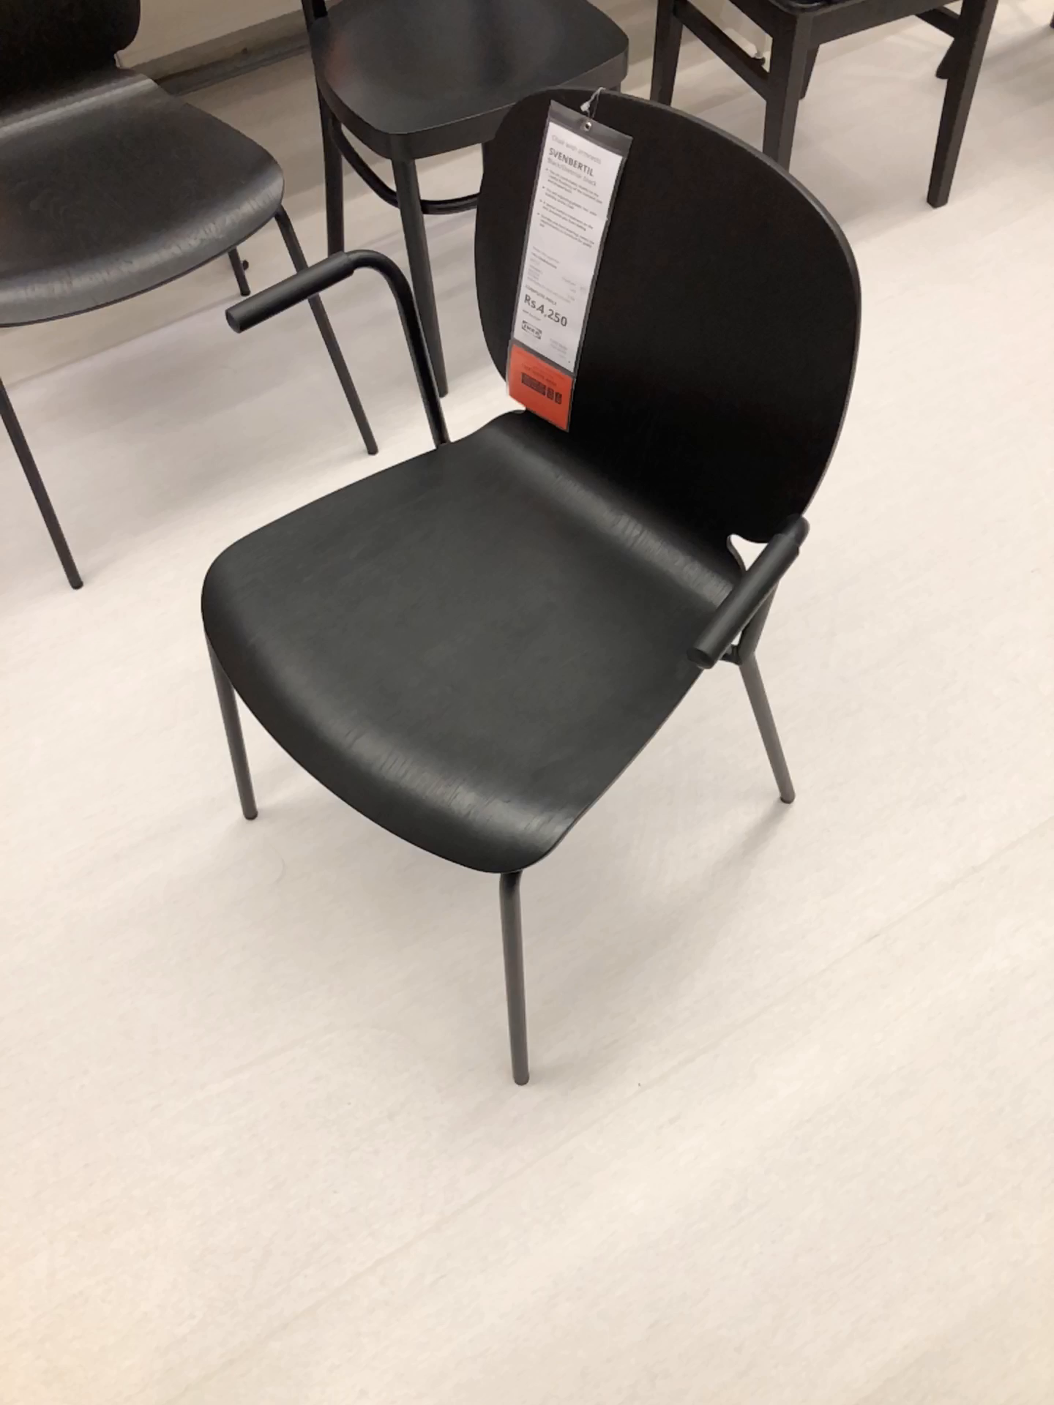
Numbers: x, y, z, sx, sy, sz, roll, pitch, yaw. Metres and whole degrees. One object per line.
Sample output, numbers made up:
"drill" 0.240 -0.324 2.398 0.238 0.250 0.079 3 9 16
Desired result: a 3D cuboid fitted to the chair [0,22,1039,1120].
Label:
"chair" -0.021 -0.090 1.106 0.581 0.687 0.532 -40 64 -21
